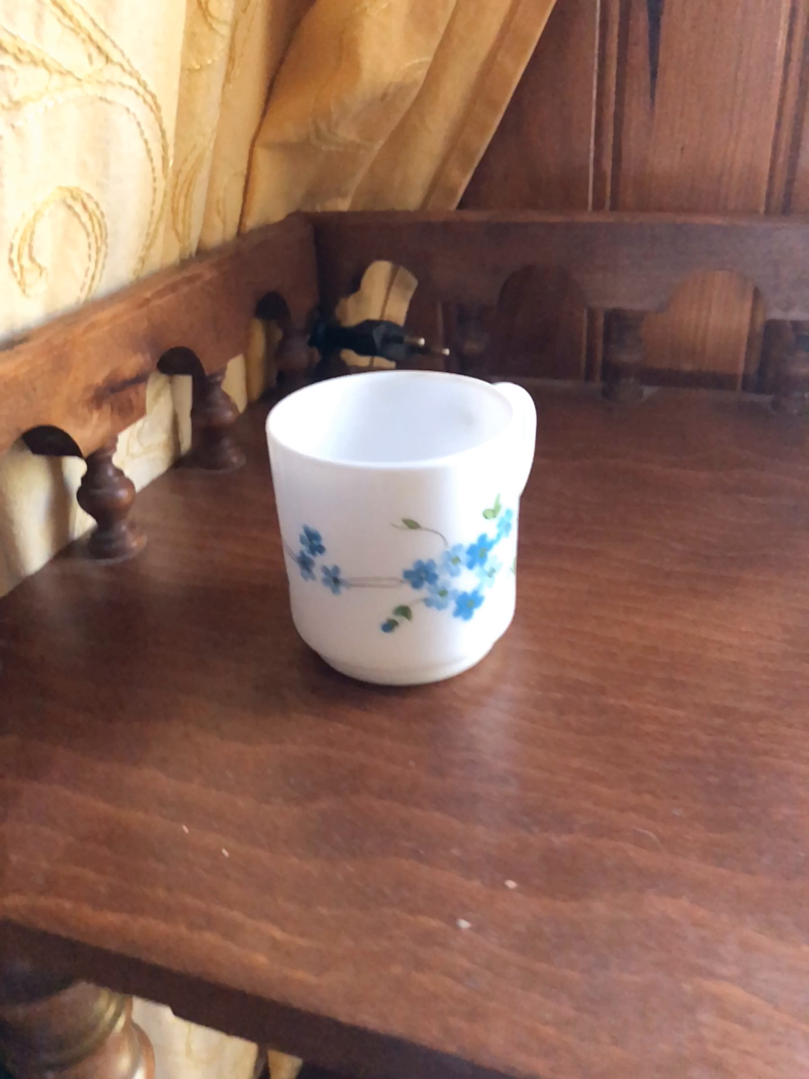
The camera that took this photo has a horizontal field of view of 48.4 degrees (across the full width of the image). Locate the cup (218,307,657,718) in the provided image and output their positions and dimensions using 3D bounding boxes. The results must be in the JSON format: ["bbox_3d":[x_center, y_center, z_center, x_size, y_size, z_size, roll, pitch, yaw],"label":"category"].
[{"bbox_3d":[0.009,-0.013,0.219,0.080,0.060,0.060,-25,36,-33],"label":"cup"}]
